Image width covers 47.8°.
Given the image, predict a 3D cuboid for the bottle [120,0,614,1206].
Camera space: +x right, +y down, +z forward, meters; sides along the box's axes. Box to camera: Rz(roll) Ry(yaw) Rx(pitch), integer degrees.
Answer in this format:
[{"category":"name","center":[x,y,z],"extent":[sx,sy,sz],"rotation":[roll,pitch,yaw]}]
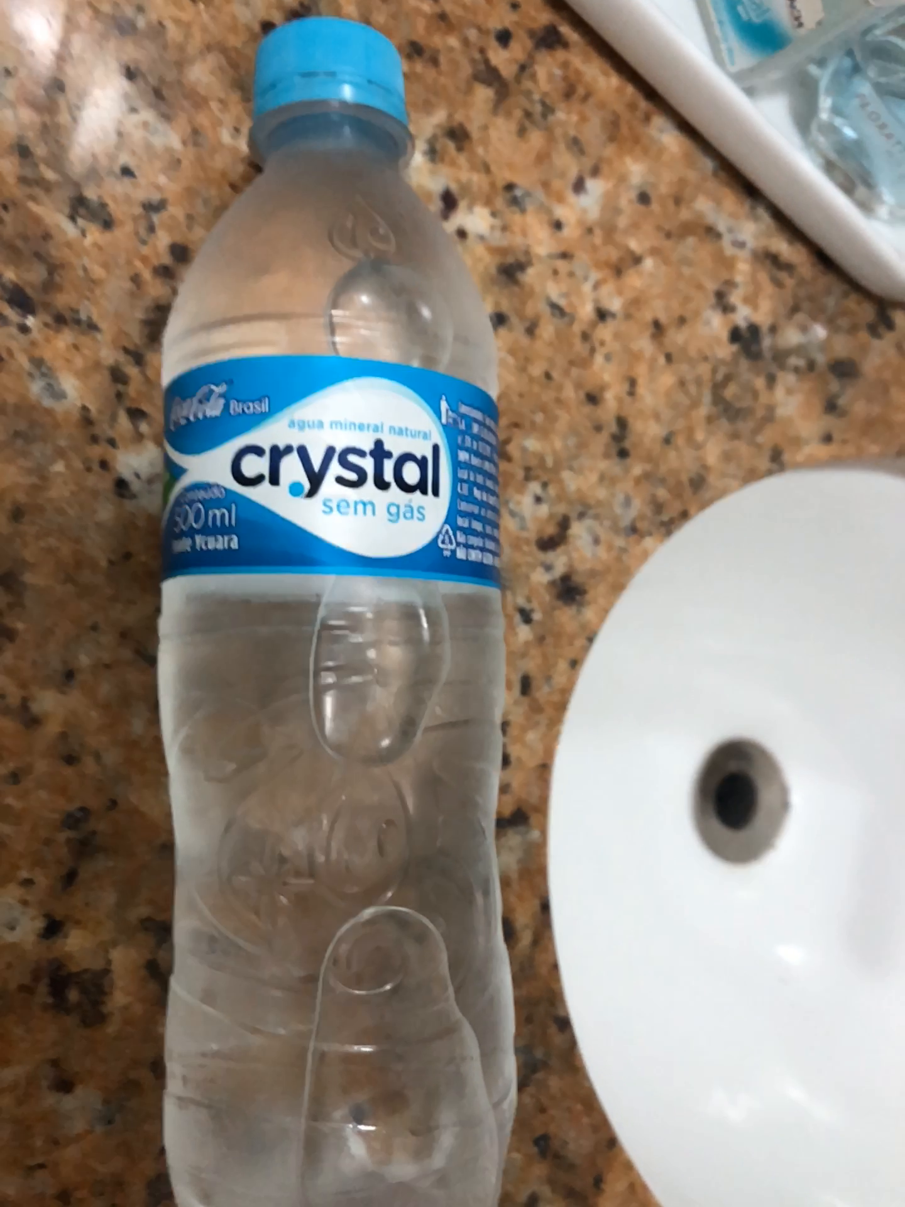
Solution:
[{"category":"bottle","center":[-0.019,-0.002,0.185],"extent":[0.070,0.050,0.230],"rotation":[1,85,-29]}]
